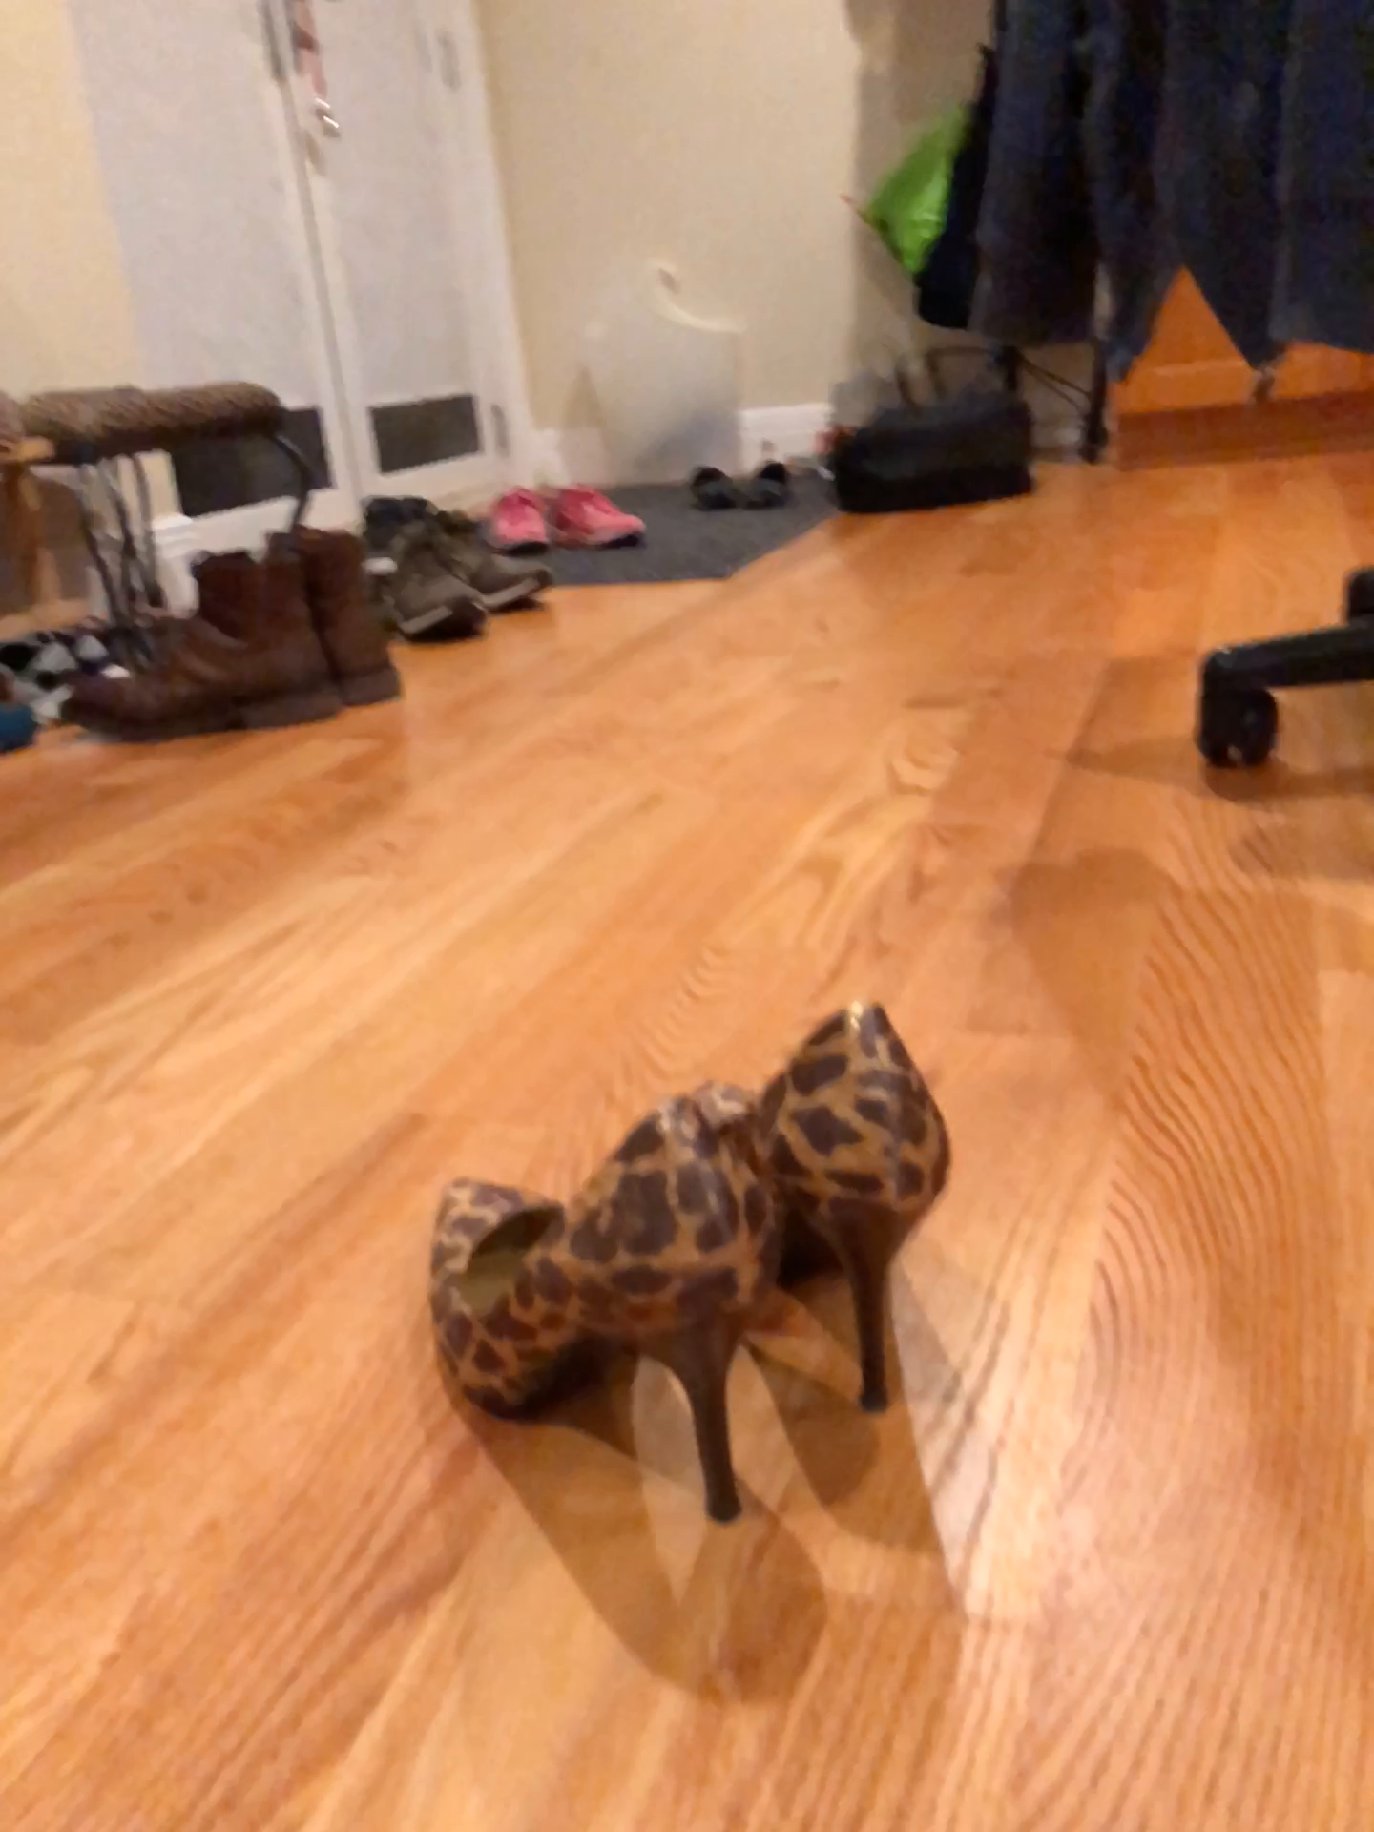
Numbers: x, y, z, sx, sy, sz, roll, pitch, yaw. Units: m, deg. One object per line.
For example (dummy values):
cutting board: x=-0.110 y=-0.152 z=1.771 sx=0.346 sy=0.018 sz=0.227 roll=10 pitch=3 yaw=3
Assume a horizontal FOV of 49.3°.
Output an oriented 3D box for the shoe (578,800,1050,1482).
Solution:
shoe: x=0.035 y=0.061 z=0.534 sx=0.084 sy=0.144 sz=0.219 roll=-11 pitch=21 yaw=-14

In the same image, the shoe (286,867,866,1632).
shoe: x=-0.045 y=0.087 z=0.488 sx=0.084 sy=0.144 sz=0.219 roll=-17 pitch=23 yaw=-26
